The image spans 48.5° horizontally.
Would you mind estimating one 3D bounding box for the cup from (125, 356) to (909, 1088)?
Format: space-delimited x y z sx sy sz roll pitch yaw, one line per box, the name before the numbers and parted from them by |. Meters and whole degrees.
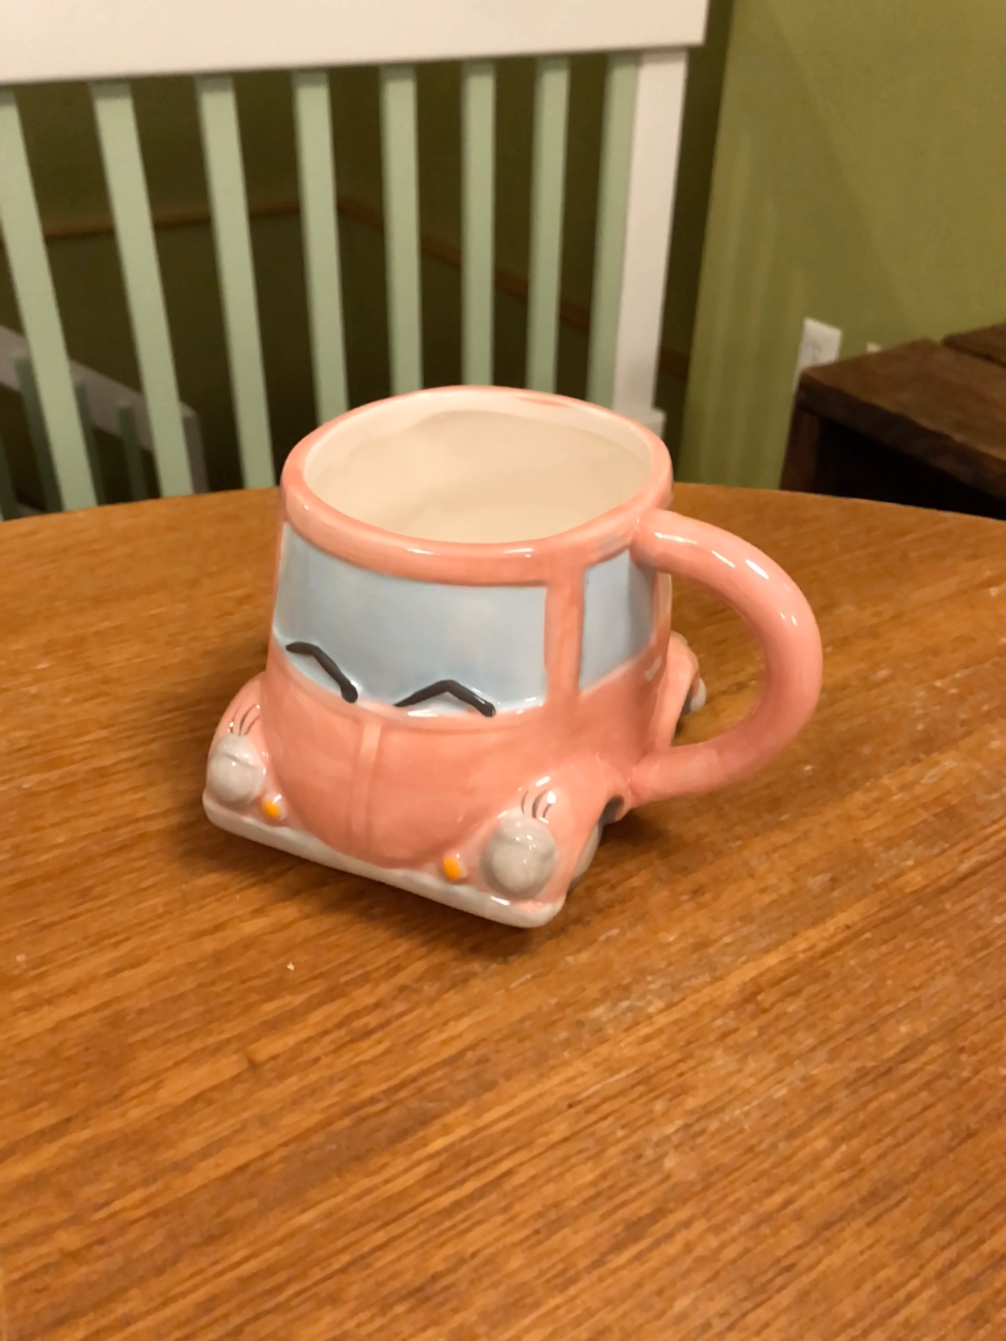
cup | 0.011 -0.001 0.281 0.139 0.097 0.128 1 35 -1
